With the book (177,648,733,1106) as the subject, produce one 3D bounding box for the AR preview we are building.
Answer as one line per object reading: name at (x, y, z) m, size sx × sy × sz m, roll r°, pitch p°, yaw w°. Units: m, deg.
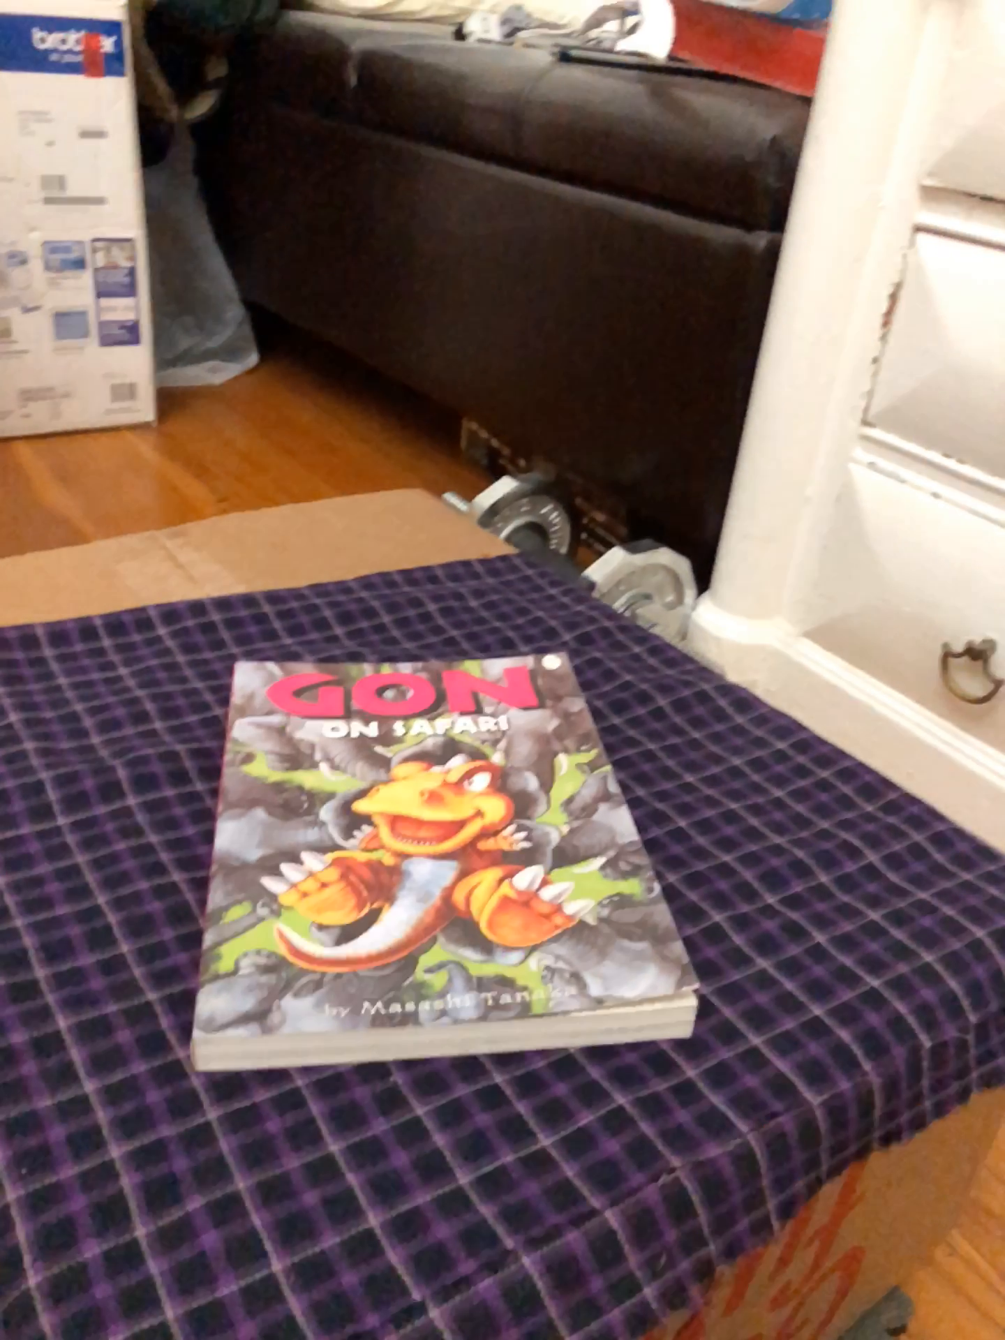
book at (-0.025, 0.054, 0.391) m, size 0.150 × 0.020 × 0.211 m, roll 0°, pitch 31°, yaw -10°
